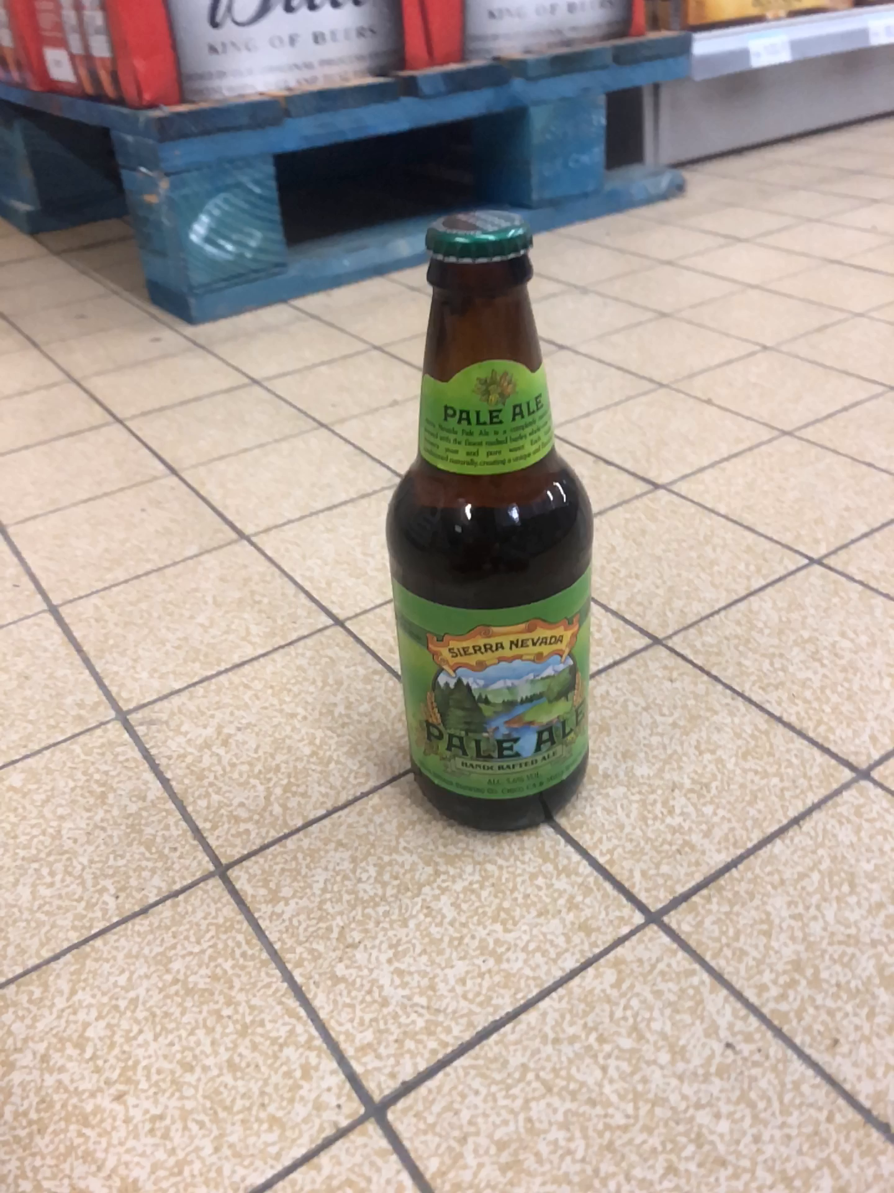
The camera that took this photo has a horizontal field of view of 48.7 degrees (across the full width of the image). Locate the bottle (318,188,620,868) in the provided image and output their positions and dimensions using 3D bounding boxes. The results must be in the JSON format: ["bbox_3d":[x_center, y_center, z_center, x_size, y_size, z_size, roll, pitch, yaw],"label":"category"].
[{"bbox_3d":[0.009,-0.015,0.304,0.060,0.189,0.070,-12,34,-11],"label":"bottle"}]
